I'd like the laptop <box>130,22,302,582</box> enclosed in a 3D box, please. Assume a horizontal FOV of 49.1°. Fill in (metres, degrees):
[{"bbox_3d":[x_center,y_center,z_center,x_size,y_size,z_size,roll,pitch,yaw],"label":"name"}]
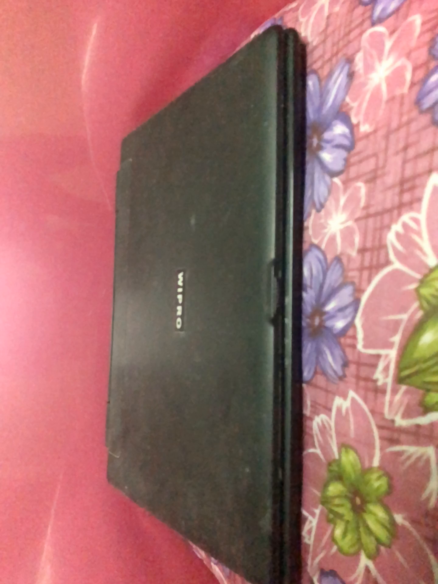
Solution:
[{"bbox_3d":[-0.017,0.004,0.369,0.221,0.006,0.322,-5,83,57],"label":"laptop"}]
